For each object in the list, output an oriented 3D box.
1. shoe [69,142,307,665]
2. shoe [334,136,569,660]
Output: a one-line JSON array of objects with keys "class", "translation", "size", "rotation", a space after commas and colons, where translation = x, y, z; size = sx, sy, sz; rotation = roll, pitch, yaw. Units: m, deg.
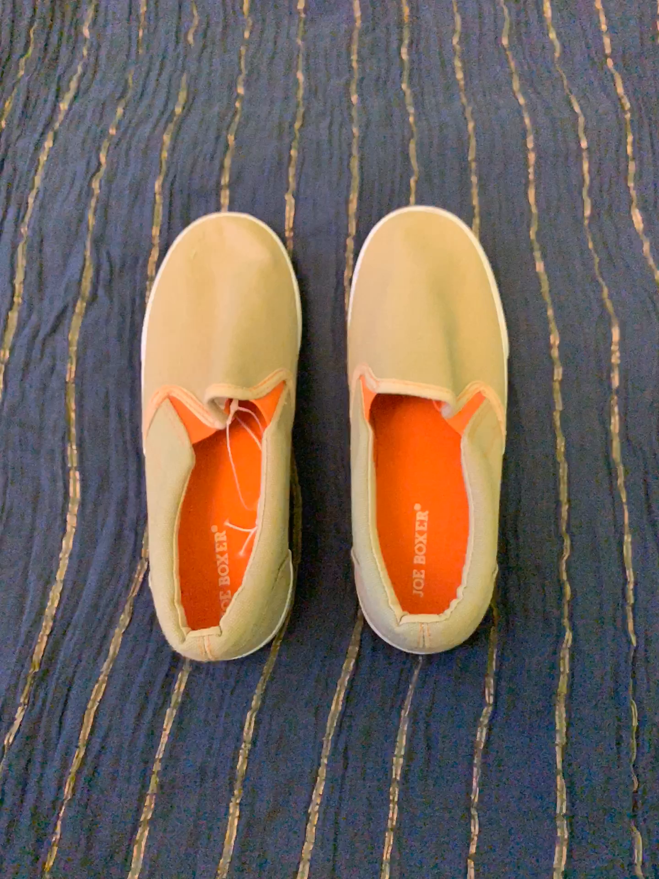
[{"class": "shoe", "translation": [-0.062, -0.020, 0.363], "size": [0.095, 0.080, 0.263], "rotation": [0, 73, -1]}, {"class": "shoe", "translation": [0.055, -0.024, 0.374], "size": [0.100, 0.080, 0.271], "rotation": [1, 73, -1]}]
